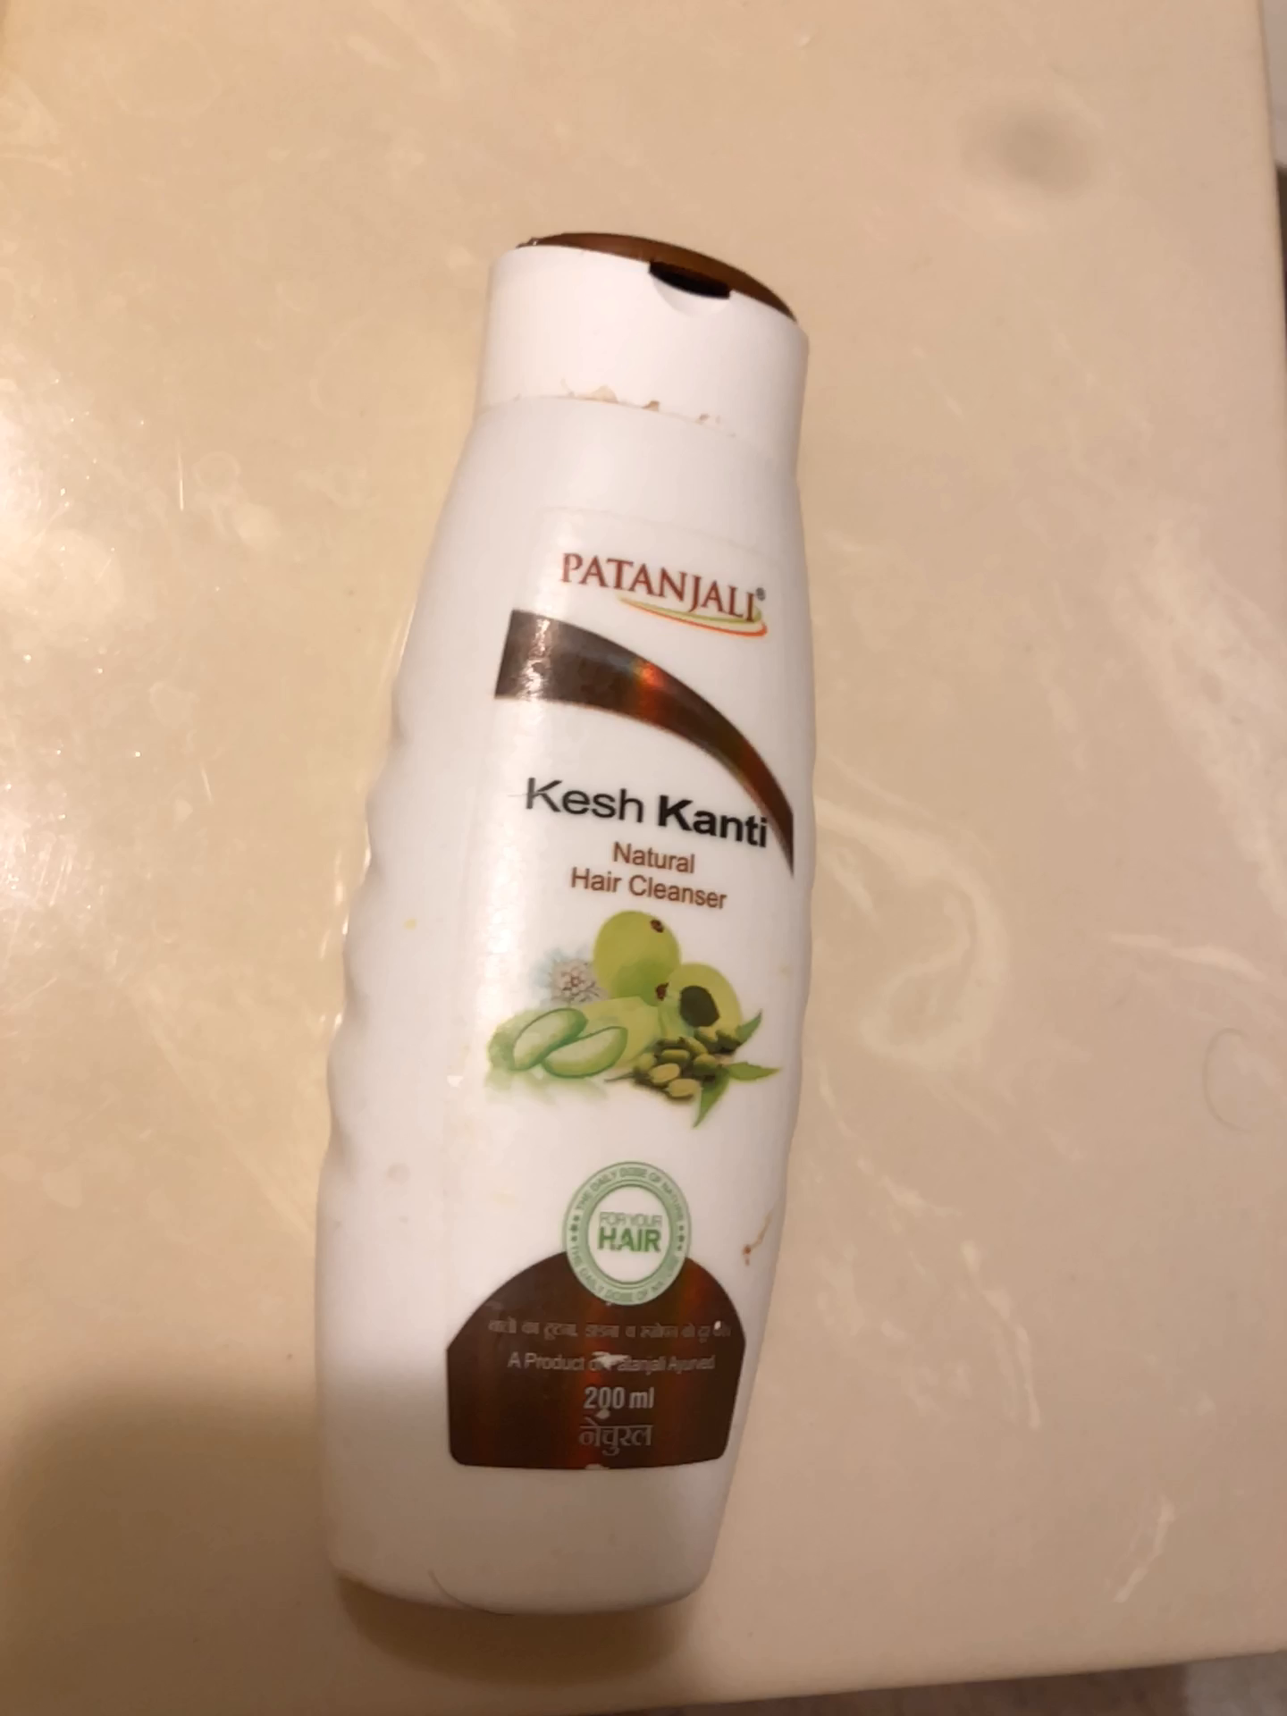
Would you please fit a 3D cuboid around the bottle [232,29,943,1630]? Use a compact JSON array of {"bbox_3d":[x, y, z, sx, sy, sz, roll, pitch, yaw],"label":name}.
[{"bbox_3d":[-0.005,-0.007,0.204,0.070,0.040,0.200,10,77,-16],"label":"bottle"}]
